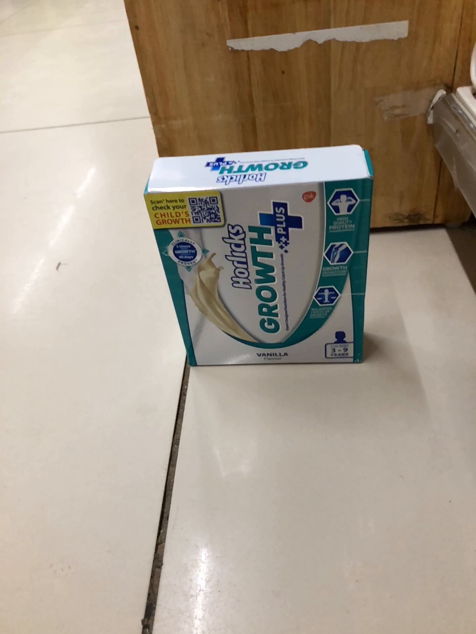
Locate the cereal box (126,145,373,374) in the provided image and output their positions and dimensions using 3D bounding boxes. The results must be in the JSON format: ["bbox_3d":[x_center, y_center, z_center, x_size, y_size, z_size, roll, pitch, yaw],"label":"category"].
[{"bbox_3d":[0.016,-0.033,0.389,0.150,0.159,0.050,-3,41,8],"label":"cereal box"}]
